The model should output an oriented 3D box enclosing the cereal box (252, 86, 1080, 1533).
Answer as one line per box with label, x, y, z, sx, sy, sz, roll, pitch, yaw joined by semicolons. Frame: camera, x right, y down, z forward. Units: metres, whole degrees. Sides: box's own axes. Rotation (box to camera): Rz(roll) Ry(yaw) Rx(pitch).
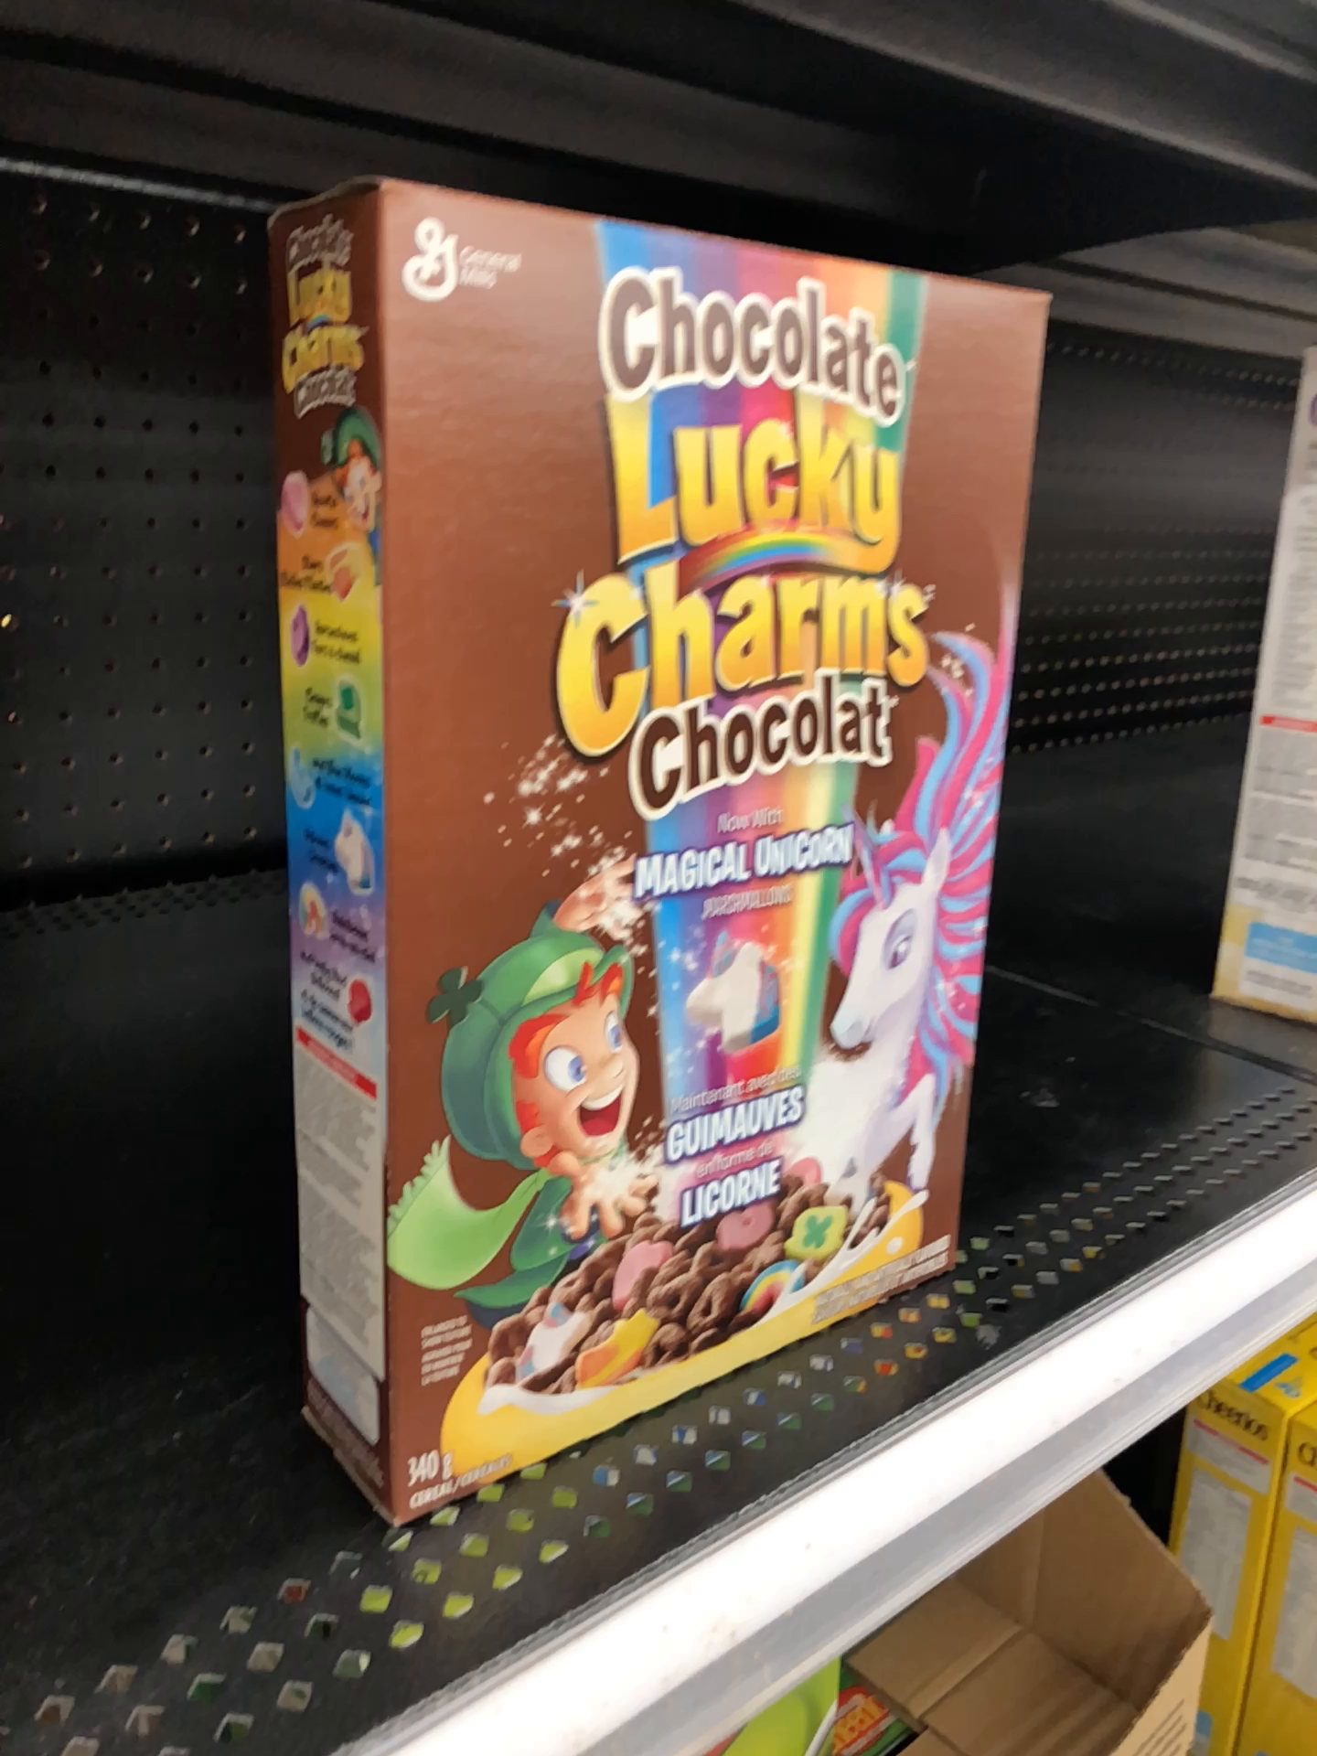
cereal box;0.009;-0.015;0.364;0.200;0.289;0.050;-10;18;-38
